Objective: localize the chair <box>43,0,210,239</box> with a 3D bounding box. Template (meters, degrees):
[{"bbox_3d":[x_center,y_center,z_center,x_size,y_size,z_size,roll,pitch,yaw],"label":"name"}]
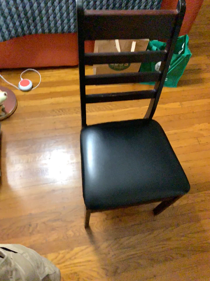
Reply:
[{"bbox_3d":[0.100,0.012,0.846,0.490,0.868,0.551,-9,64,-10],"label":"chair"}]
